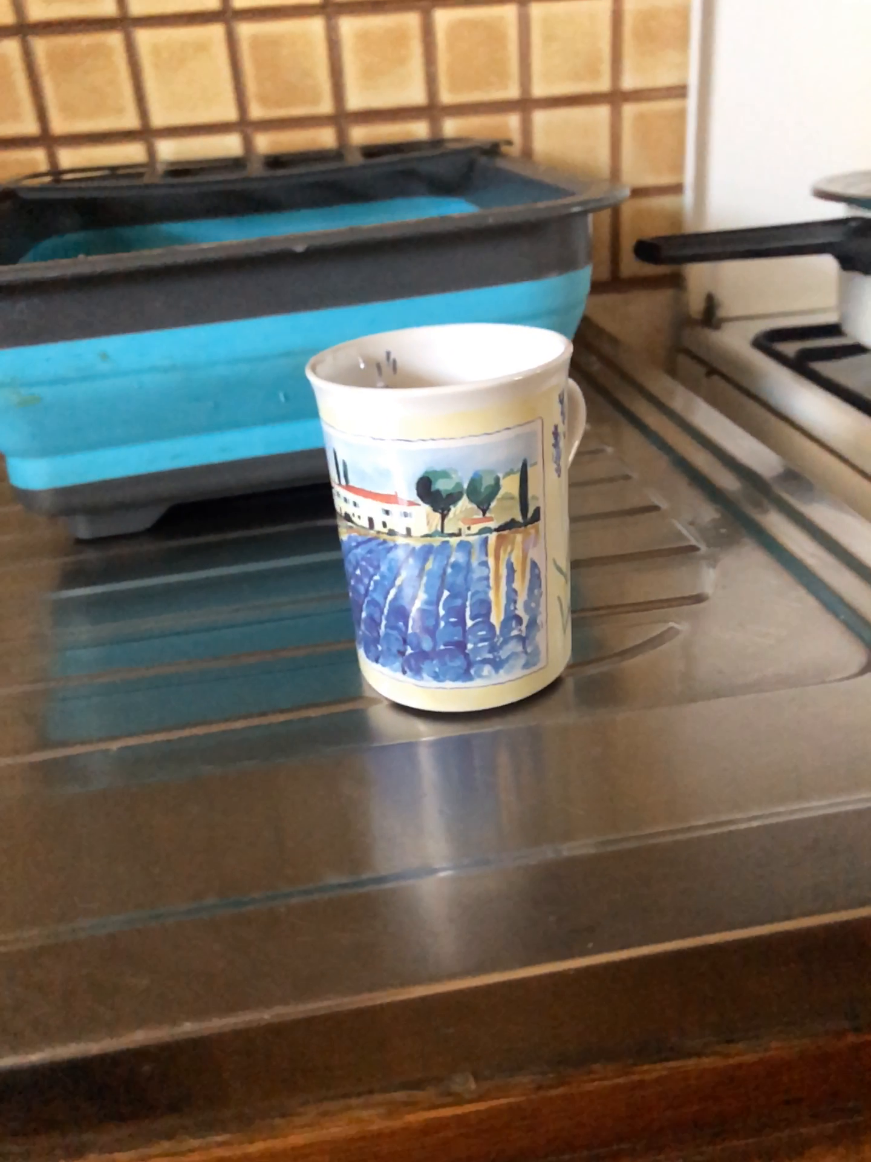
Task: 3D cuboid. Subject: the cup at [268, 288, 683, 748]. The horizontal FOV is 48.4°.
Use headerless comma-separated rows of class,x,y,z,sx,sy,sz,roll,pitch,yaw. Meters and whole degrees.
cup,0.019,-0.028,0.306,0.070,0.099,0.111,17,34,35
